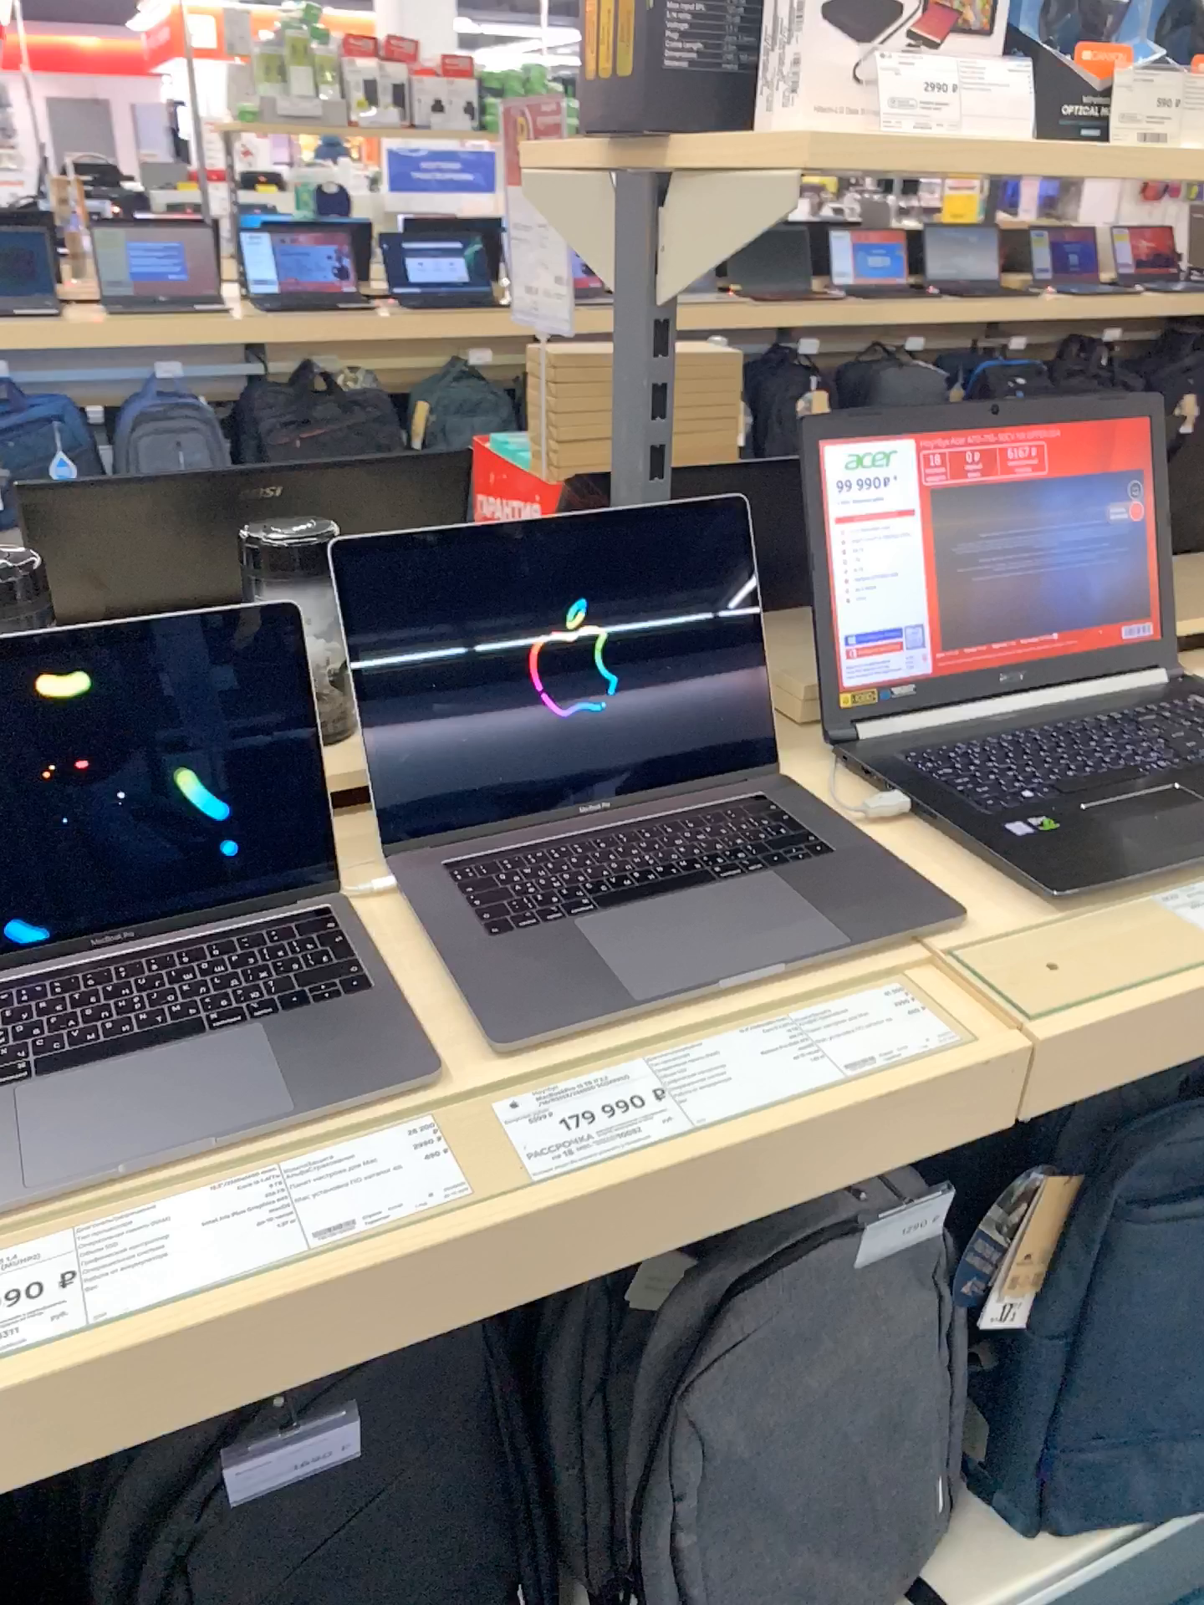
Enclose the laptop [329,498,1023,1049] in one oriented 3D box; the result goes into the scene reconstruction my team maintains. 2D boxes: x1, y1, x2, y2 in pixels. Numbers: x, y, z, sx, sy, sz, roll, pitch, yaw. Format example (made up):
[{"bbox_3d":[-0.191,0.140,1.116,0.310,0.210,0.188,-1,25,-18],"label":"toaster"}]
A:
[{"bbox_3d":[0.029,-0.054,0.861,0.345,0.210,0.326,-11,30,-23],"label":"laptop"}]
